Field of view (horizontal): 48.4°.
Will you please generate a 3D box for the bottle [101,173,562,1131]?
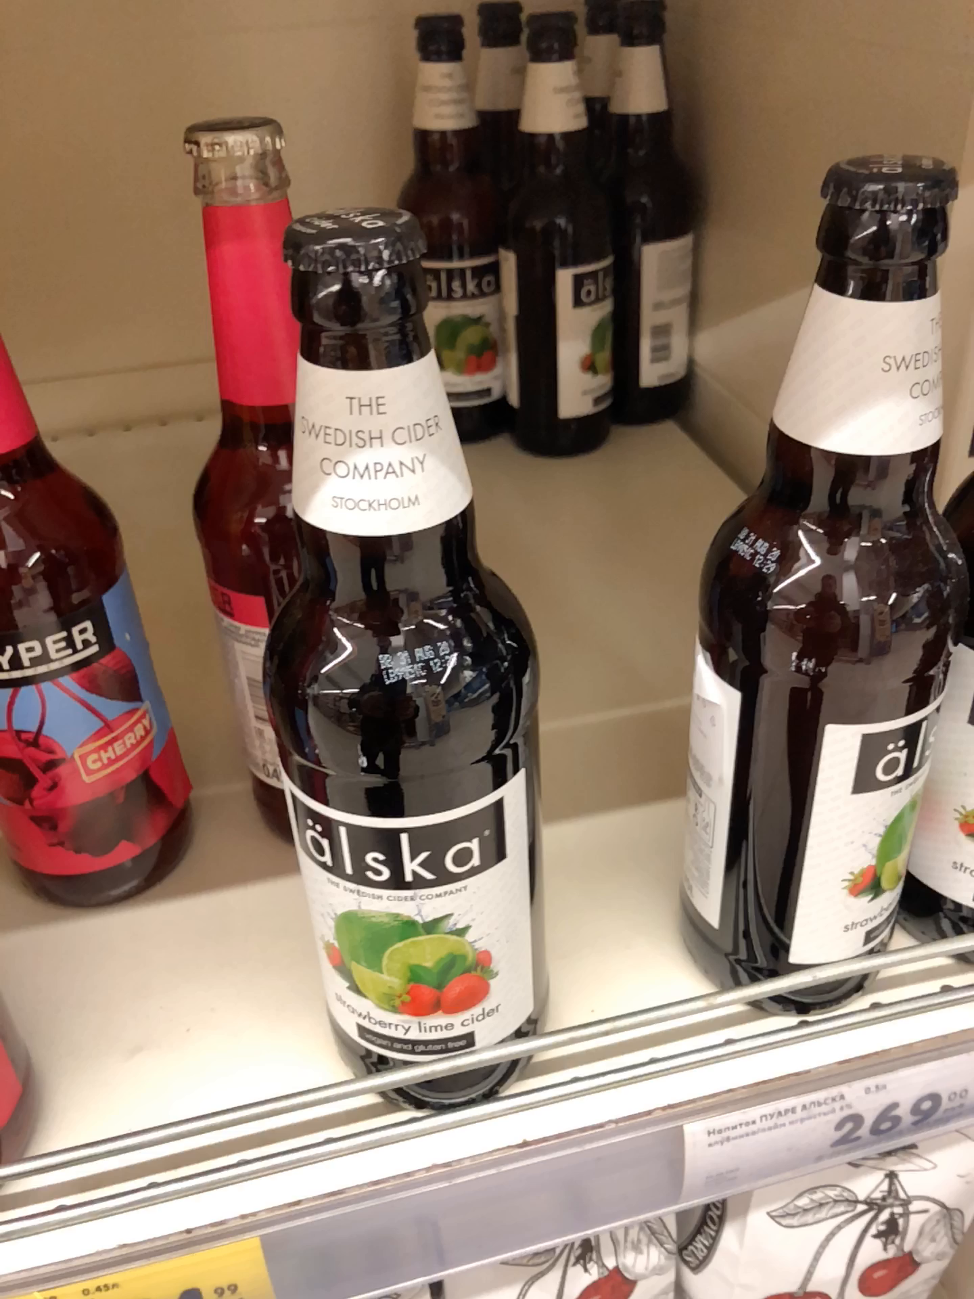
[{"bbox_3d":[-0.020,0.017,0.273,0.070,0.239,0.070,-3,33,2],"label":"bottle"}]
